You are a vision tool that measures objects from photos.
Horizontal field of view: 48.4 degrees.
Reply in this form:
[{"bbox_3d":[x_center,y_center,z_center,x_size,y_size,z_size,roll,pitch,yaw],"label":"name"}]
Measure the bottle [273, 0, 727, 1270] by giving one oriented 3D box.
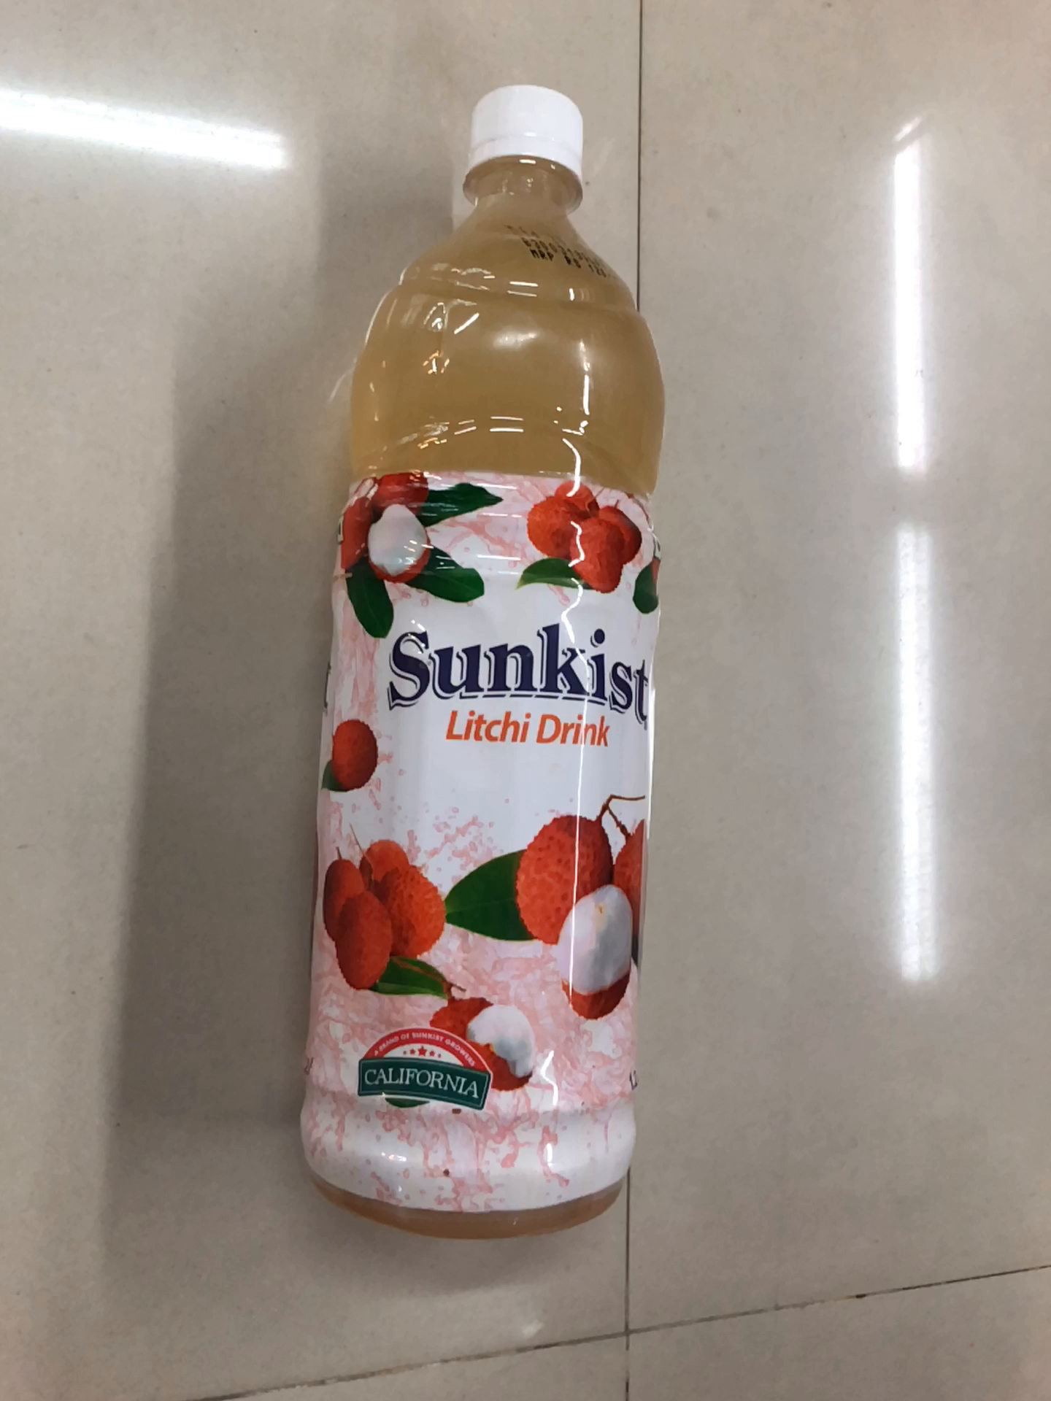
[{"bbox_3d":[-0.010,-0.023,0.312,0.090,0.080,0.300,3,88,-18],"label":"bottle"}]
